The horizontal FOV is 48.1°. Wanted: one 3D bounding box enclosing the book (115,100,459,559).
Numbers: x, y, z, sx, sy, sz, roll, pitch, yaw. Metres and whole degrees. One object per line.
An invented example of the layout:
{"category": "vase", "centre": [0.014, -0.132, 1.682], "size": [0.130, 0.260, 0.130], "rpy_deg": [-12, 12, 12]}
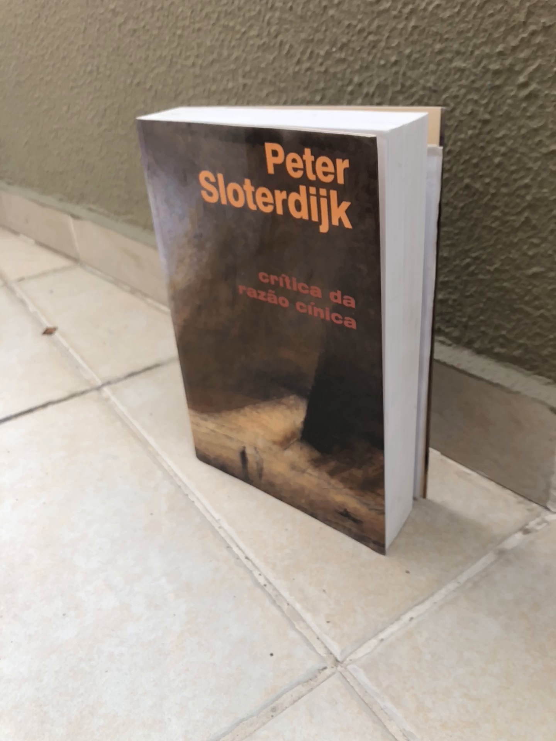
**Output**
{"category": "book", "centre": [0.006, -0.028, 0.350], "size": [0.165, 0.220, 0.058], "rpy_deg": [19, 38, 37]}
